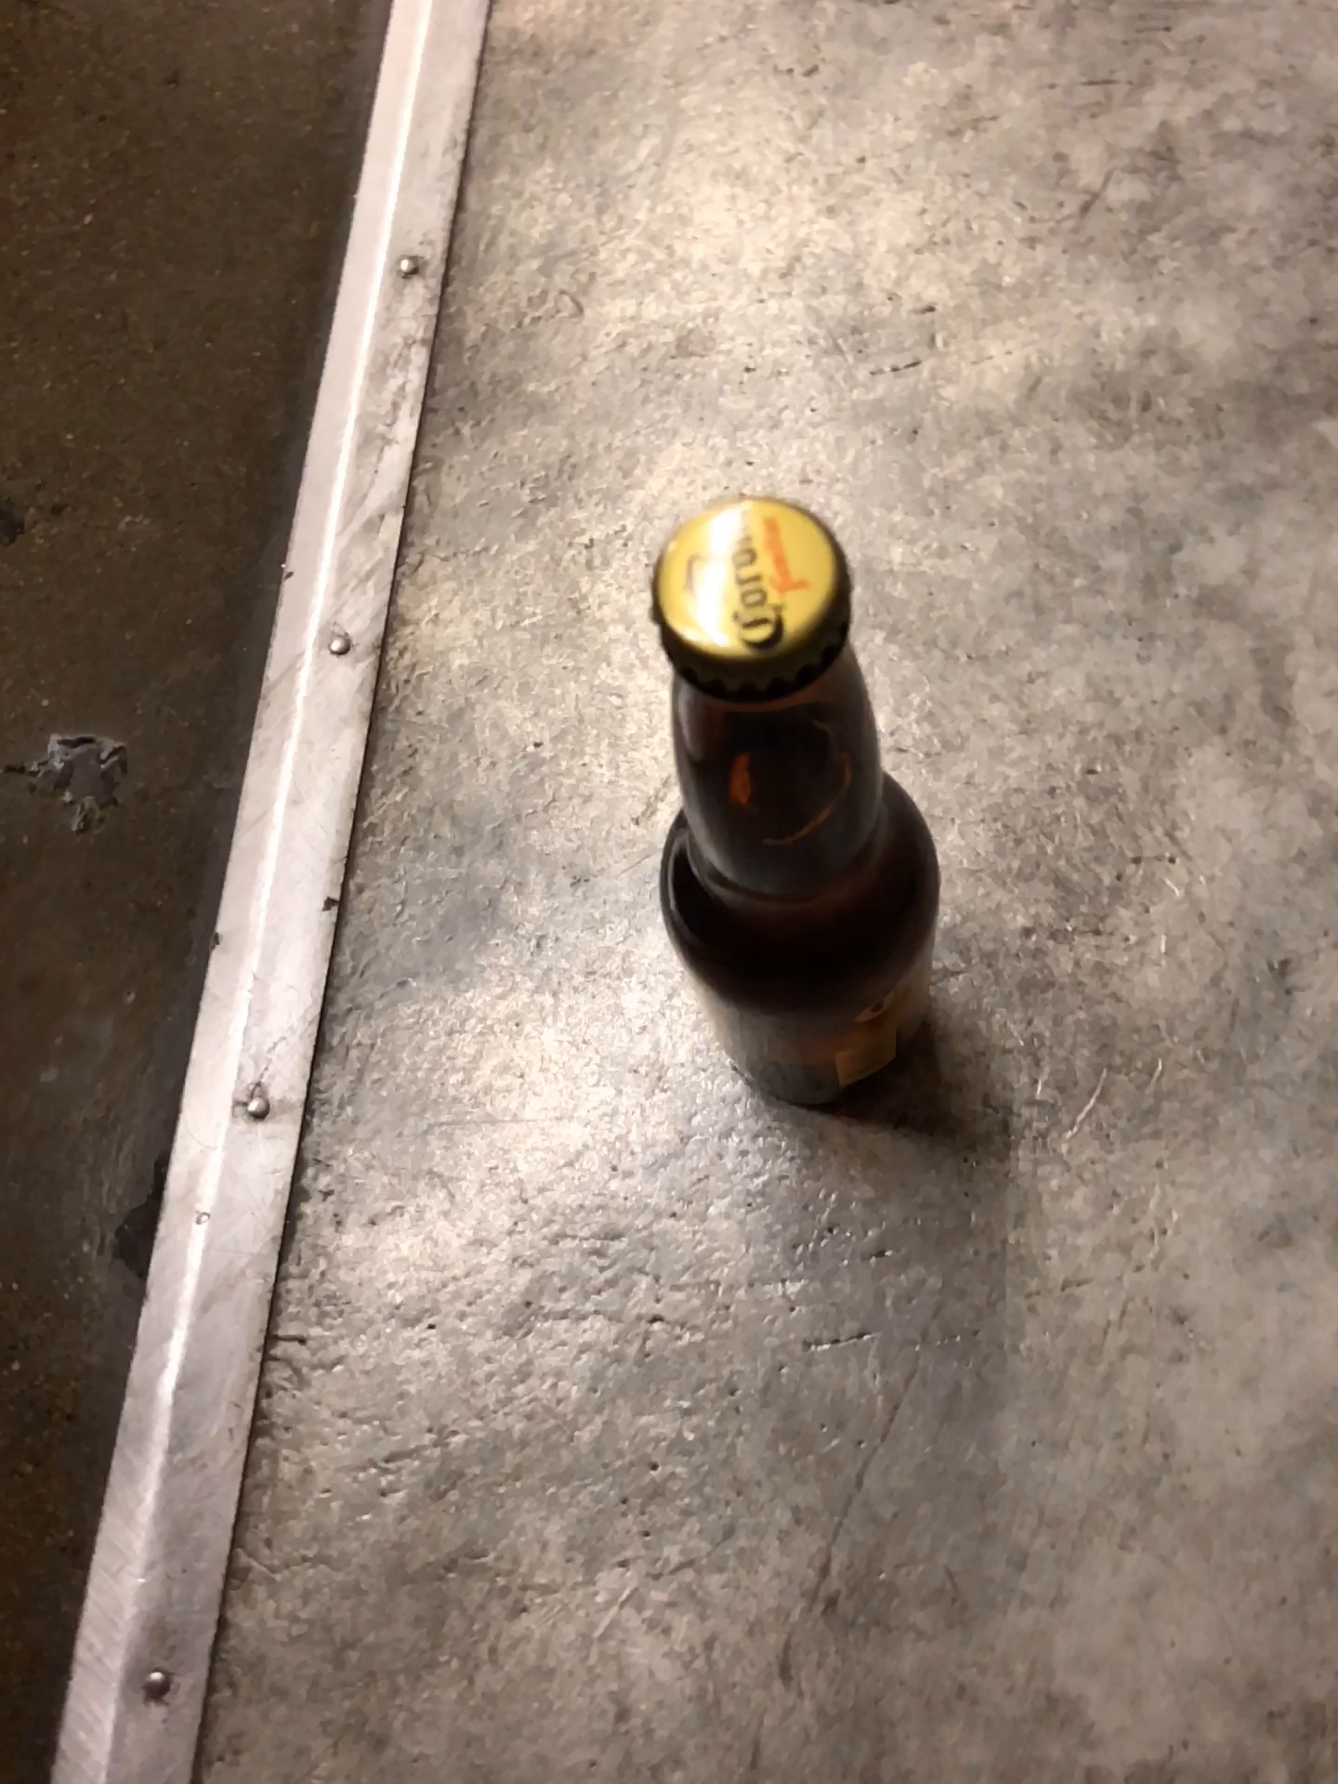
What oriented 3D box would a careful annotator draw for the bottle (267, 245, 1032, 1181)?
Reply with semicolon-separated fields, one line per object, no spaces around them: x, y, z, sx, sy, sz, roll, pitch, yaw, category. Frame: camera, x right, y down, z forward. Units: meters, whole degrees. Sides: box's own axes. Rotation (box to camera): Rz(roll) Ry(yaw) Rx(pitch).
0.013;-0.007;0.277;0.070;0.217;0.070;-3;71;8;bottle
